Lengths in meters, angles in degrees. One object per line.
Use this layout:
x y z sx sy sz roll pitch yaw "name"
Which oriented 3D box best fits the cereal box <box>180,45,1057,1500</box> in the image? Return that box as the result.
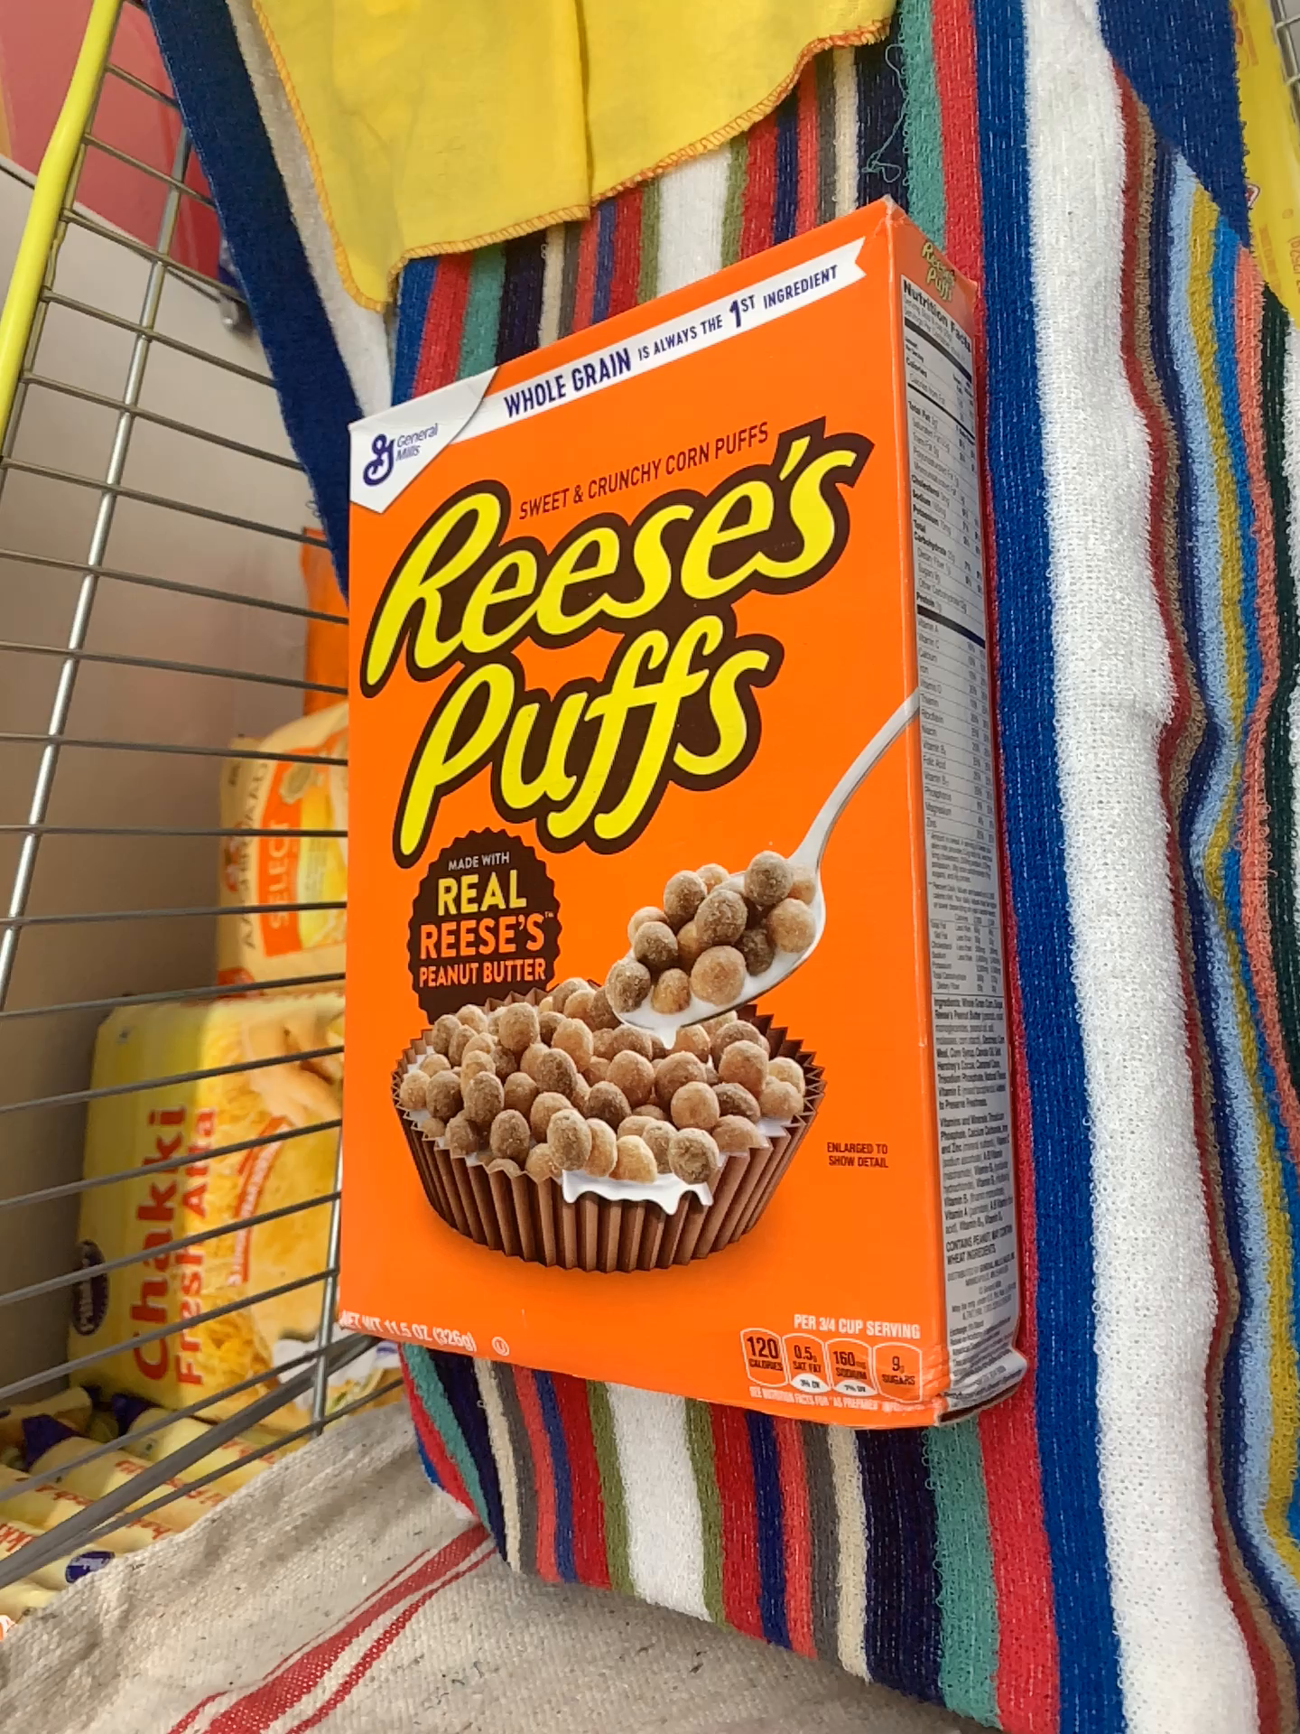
-0.020 -0.013 0.328 0.201 0.080 0.260 -6 83 37 "cereal box"
